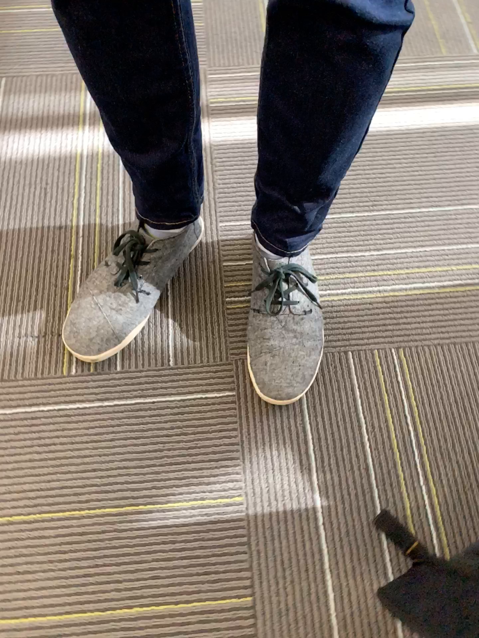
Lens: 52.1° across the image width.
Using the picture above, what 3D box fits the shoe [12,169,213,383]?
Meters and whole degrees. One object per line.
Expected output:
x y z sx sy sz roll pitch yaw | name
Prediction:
-0.176 -0.072 0.748 0.134 0.087 0.299 28 67 11 | shoe

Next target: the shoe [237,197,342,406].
0.068 -0.030 0.732 0.134 0.087 0.301 2 65 0 | shoe
